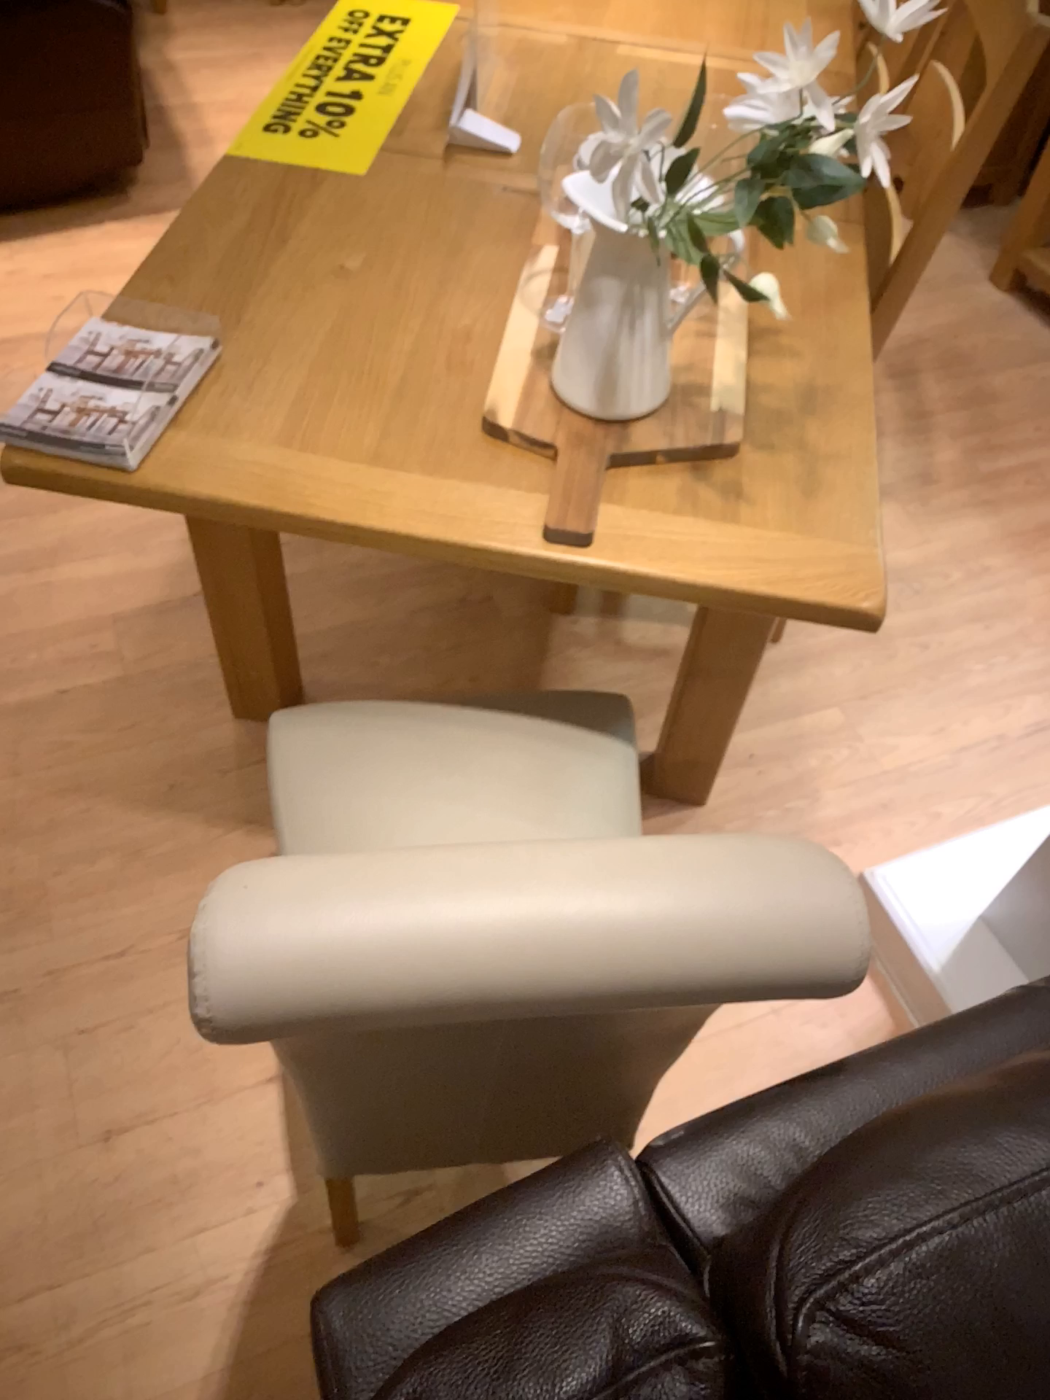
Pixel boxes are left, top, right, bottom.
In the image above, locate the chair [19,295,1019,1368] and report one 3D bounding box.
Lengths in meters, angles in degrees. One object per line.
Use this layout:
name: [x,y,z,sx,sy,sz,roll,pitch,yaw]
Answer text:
chair: [-0.052,0.206,1.075,0.476,0.945,0.639,-2,52,-6]
